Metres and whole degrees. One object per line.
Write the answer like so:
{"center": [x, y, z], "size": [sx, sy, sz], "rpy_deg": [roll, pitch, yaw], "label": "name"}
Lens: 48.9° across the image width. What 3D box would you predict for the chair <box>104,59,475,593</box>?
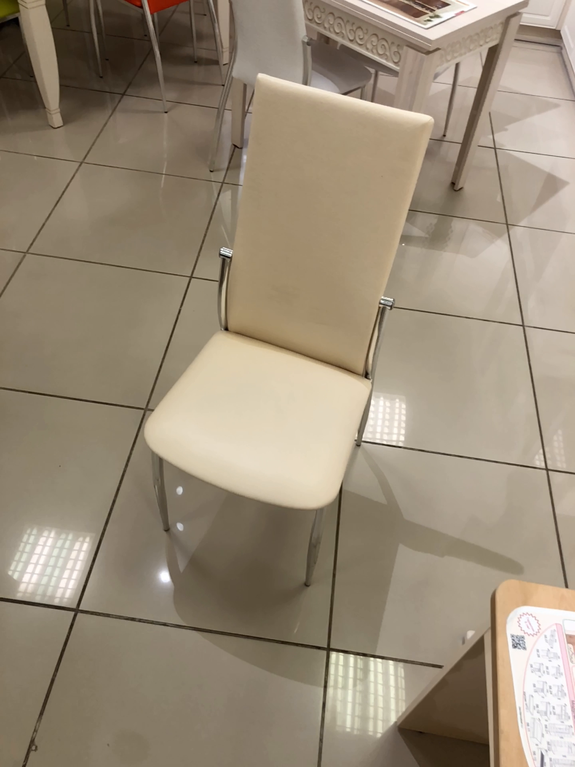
{"center": [-0.001, -0.048, 1.357], "size": [0.430, 0.976, 0.502], "rpy_deg": [19, 51, 10], "label": "chair"}
